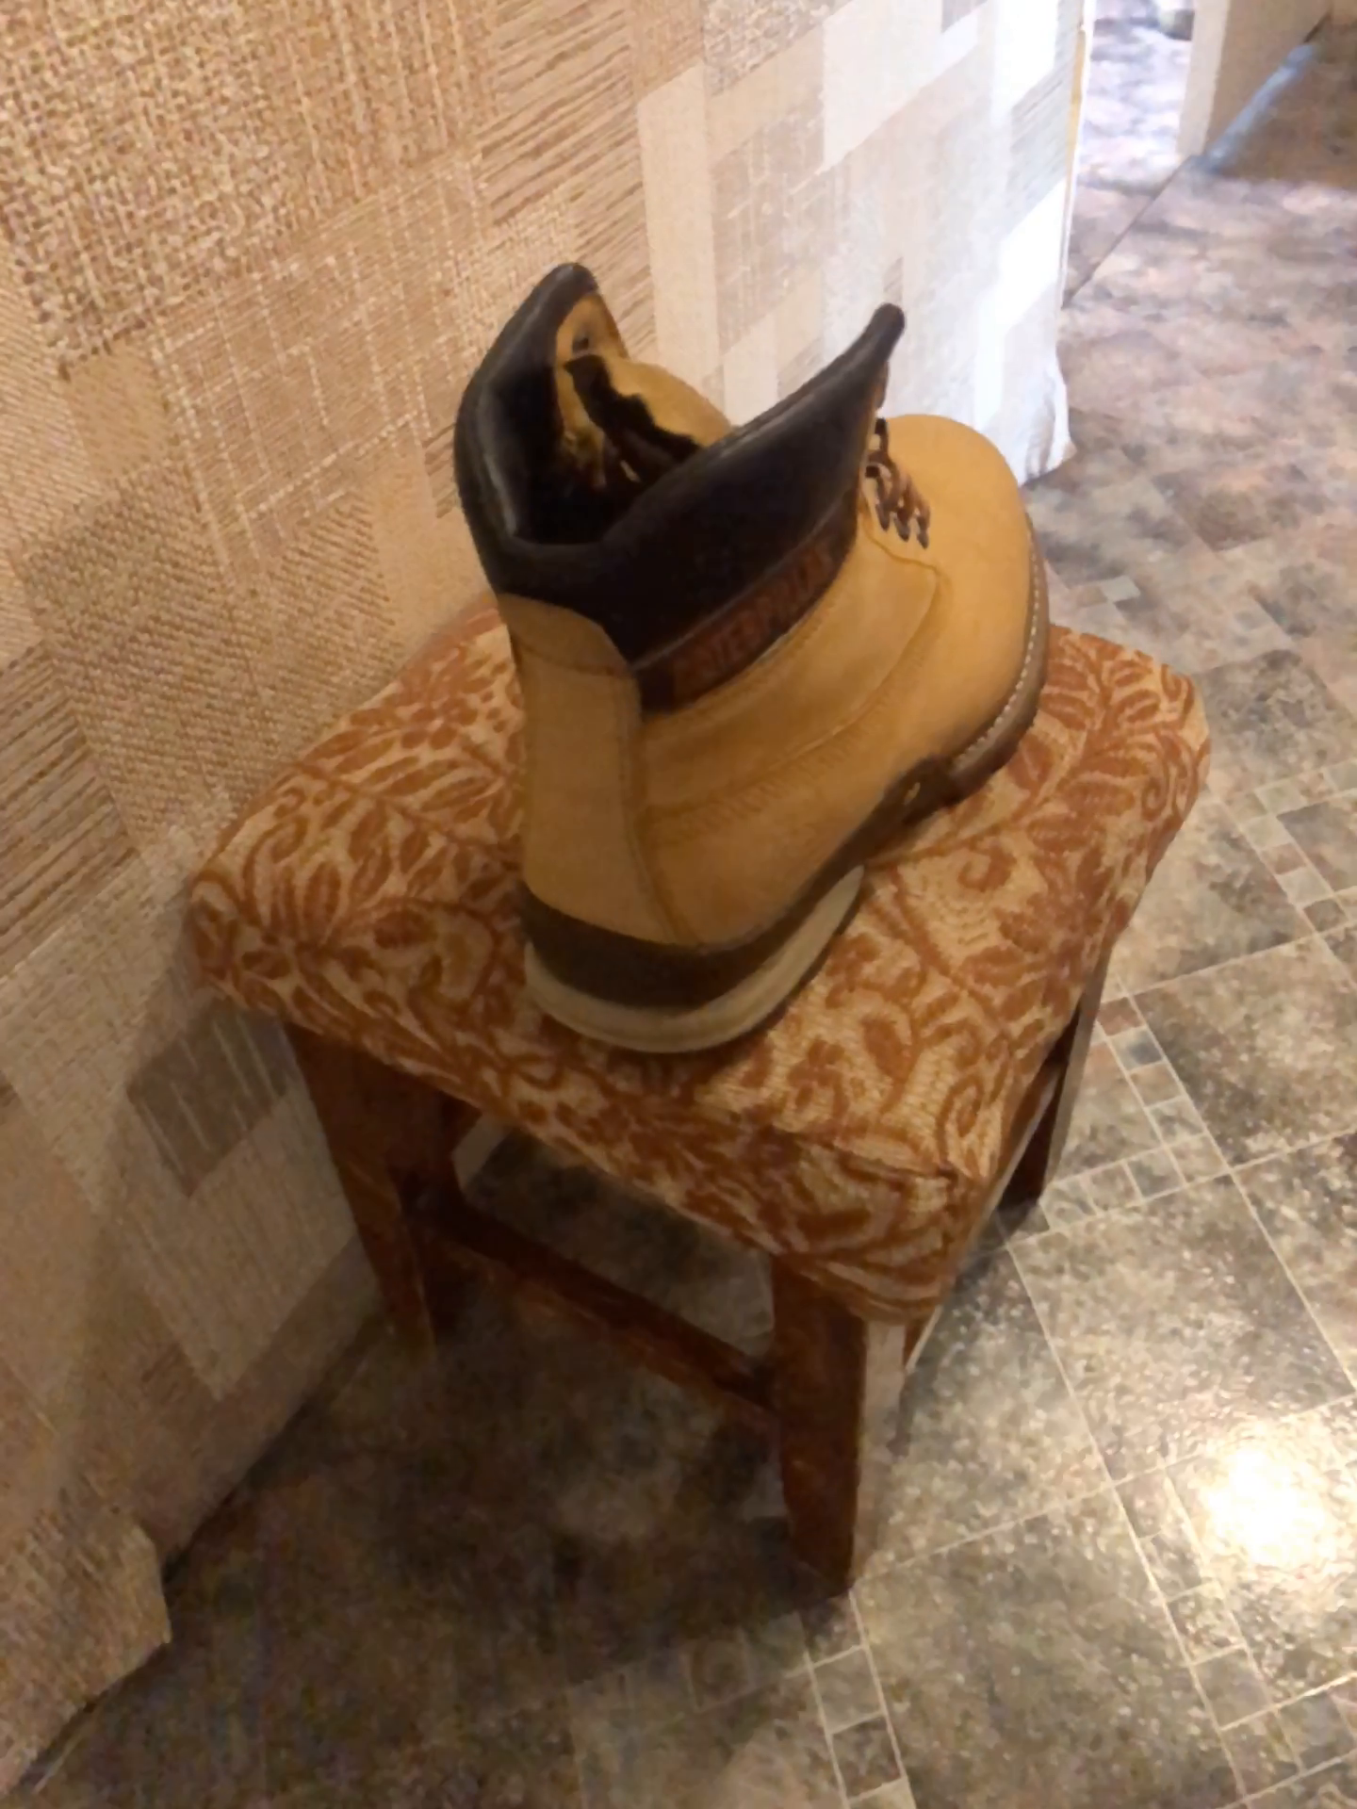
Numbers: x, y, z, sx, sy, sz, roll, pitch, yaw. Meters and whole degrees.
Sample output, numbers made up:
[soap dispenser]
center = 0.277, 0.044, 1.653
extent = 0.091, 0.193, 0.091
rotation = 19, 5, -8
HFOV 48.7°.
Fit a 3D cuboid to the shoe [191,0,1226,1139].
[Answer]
[shoe]
center = 0.036, -0.124, 0.458
extent = 0.140, 0.189, 0.311
rotation = 19, 50, 22
